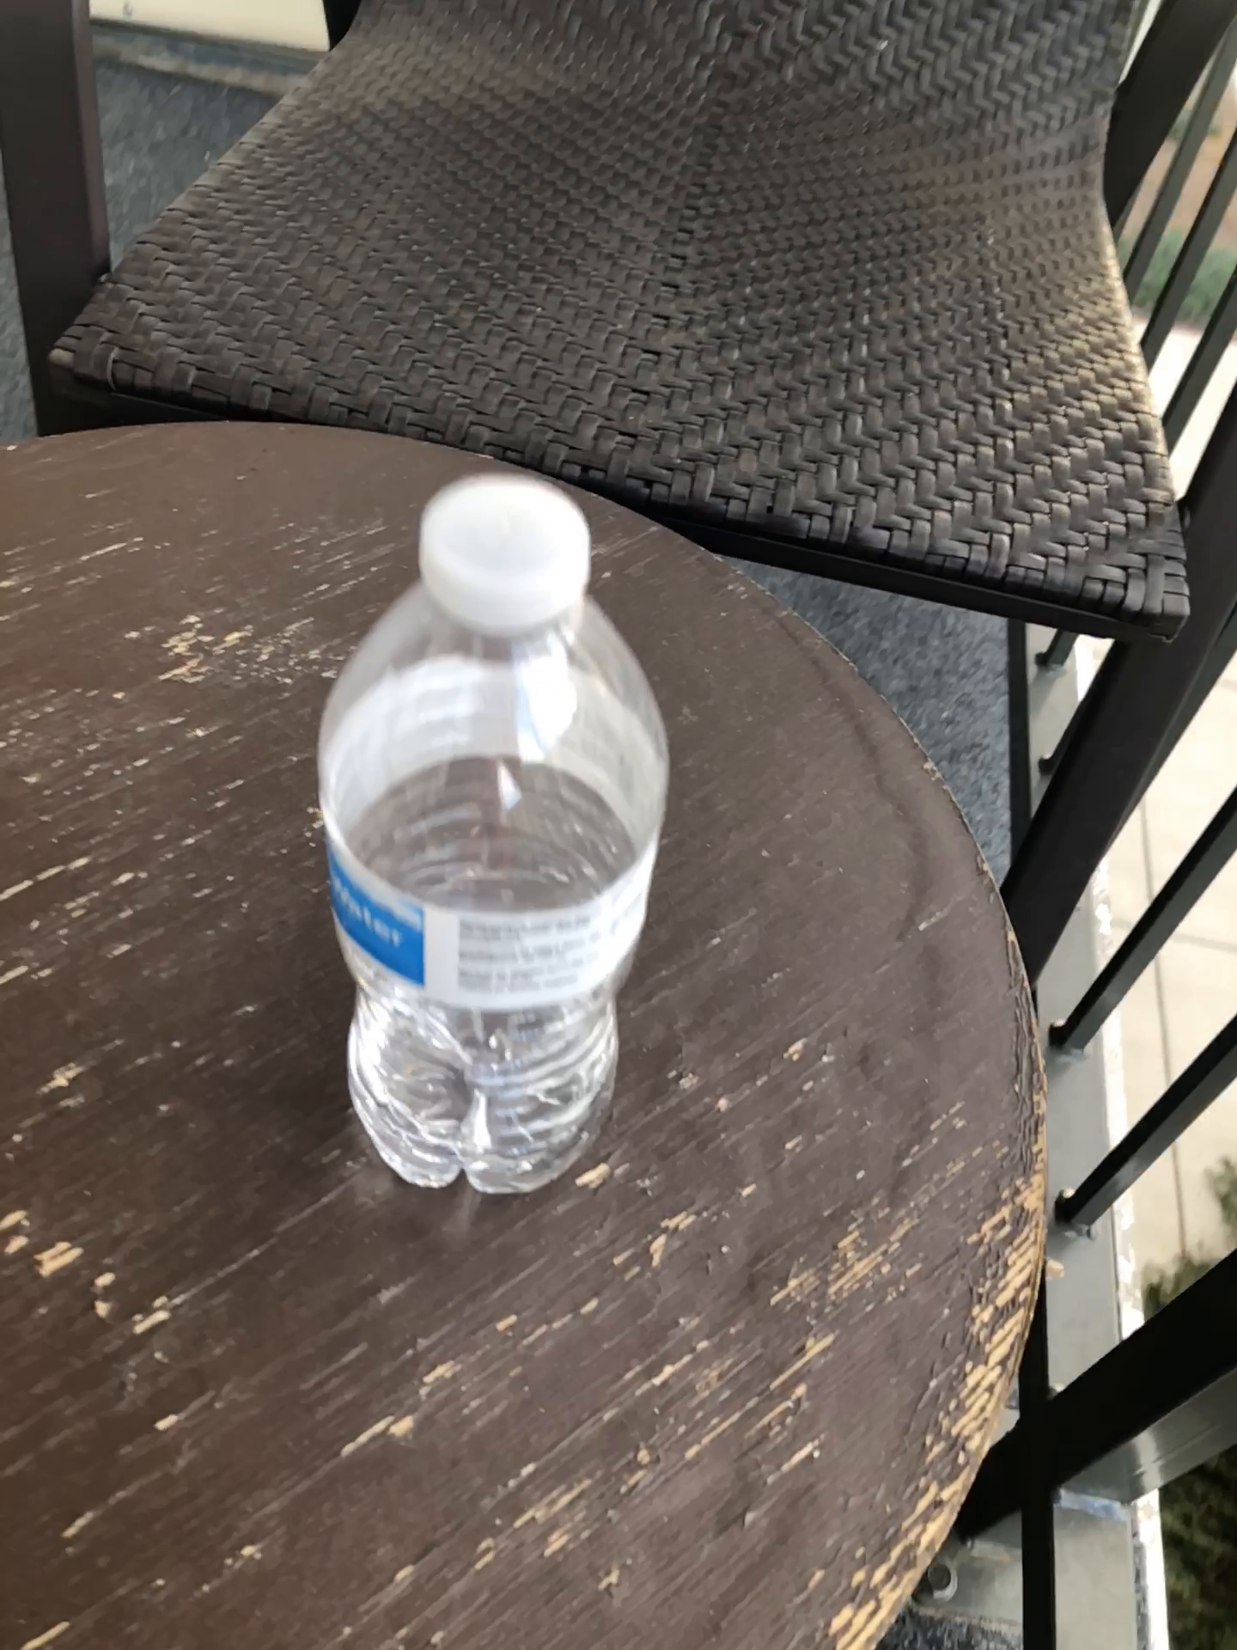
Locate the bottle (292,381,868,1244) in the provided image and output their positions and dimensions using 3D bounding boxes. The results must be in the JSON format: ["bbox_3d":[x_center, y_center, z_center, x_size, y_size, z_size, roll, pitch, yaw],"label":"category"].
[{"bbox_3d":[-0.019,0.011,0.290,0.080,0.189,0.075,4,51,-5],"label":"bottle"}]
